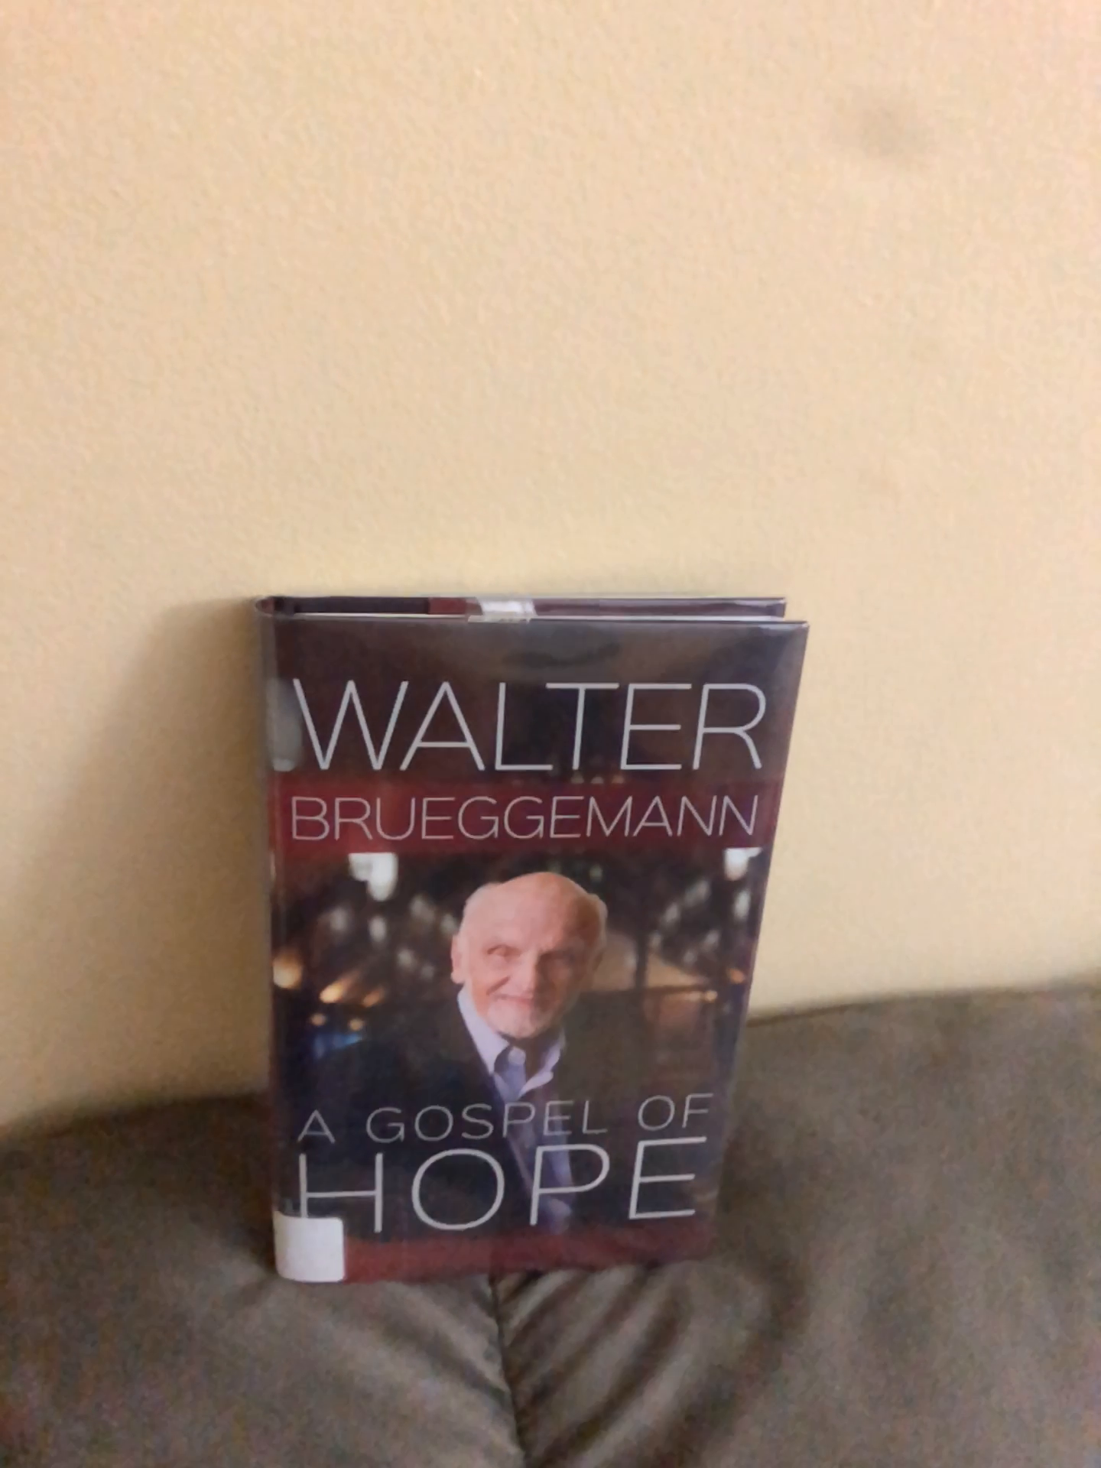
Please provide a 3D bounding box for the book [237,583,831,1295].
[{"bbox_3d":[-0.008,0.065,0.340,0.140,0.210,0.027,1,22,-5],"label":"book"}]
